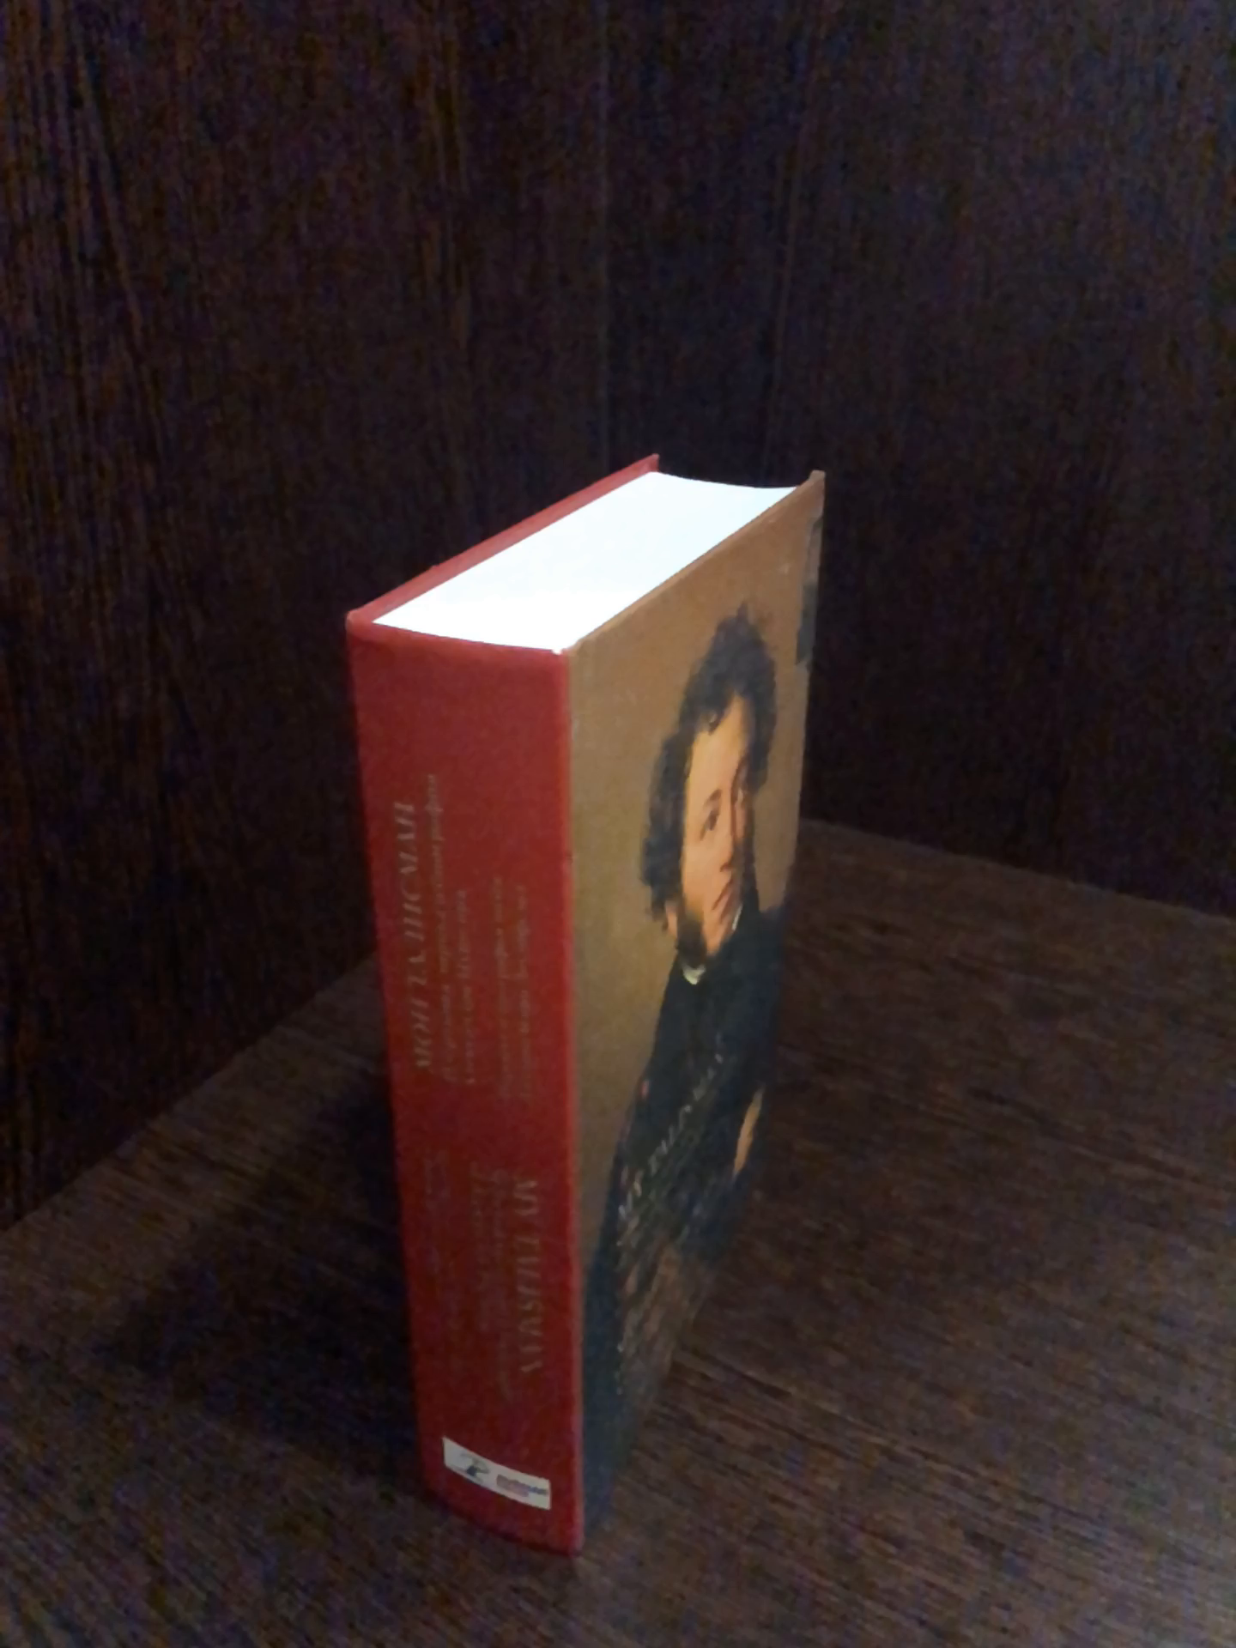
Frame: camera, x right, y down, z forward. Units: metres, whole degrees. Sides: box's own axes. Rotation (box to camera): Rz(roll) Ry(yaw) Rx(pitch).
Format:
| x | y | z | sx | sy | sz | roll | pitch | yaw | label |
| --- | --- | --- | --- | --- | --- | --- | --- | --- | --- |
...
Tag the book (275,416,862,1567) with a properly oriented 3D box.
| x | y | z | sx | sy | sz | roll | pitch | yaw | label |
| --- | --- | --- | --- | --- | --- | --- | --- | --- | --- |
| -0.003 | 0.028 | 0.301 | 0.054 | 0.201 | 0.138 | 14 | 29 | 20 | book |
